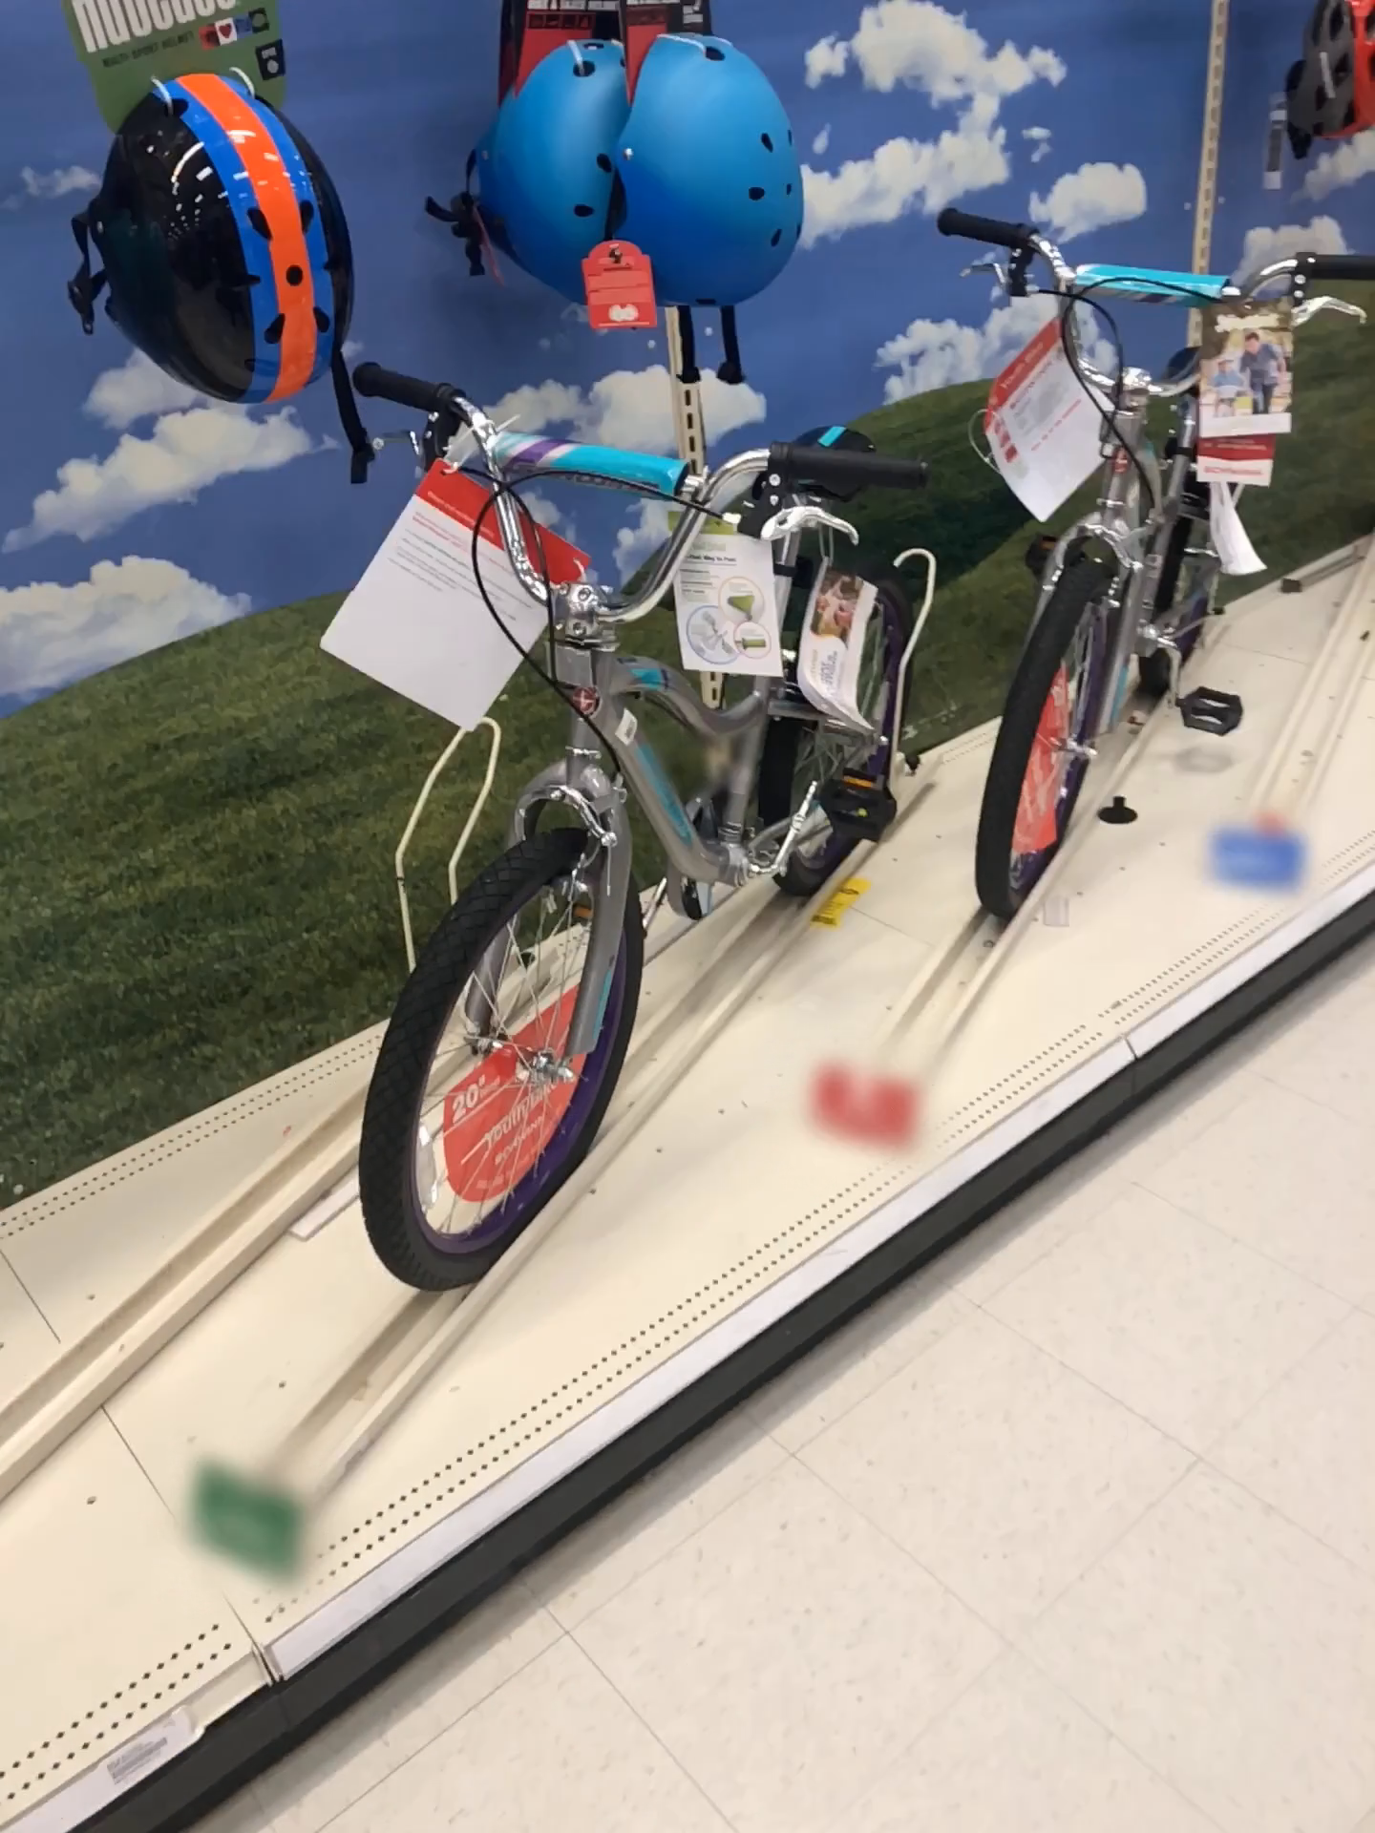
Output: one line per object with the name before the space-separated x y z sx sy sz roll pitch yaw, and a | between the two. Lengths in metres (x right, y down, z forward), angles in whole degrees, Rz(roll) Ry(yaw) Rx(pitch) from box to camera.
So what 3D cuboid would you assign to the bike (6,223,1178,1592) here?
bike | 0.065 -0.175 1.779 0.649 0.878 1.326 11 38 26
